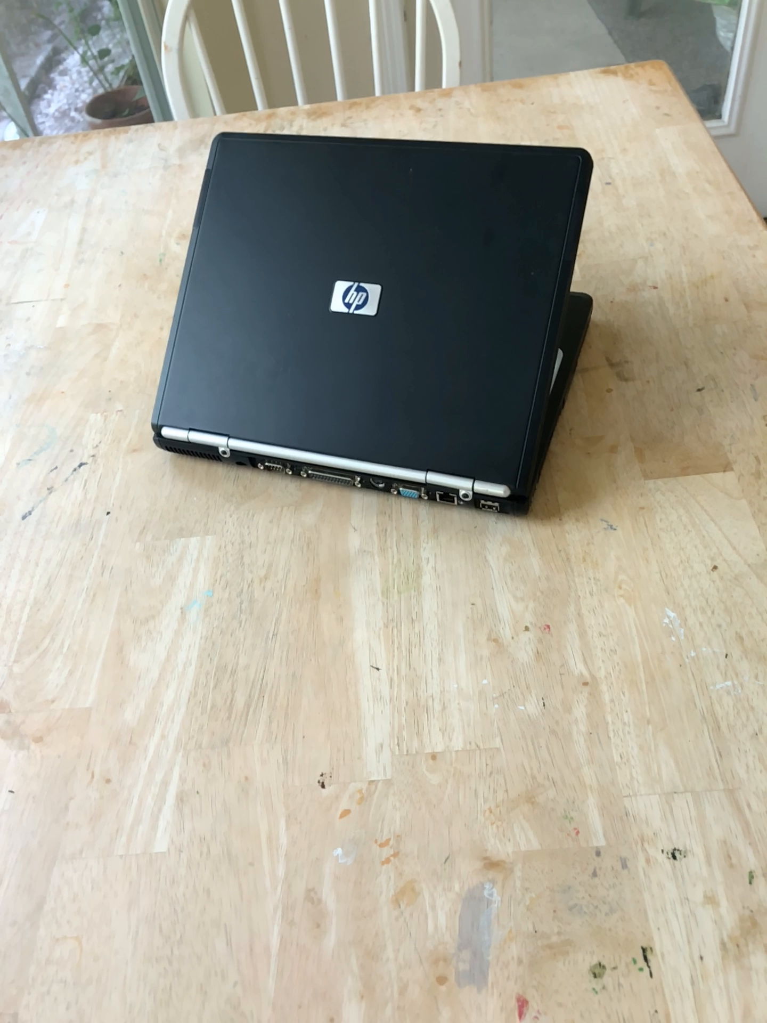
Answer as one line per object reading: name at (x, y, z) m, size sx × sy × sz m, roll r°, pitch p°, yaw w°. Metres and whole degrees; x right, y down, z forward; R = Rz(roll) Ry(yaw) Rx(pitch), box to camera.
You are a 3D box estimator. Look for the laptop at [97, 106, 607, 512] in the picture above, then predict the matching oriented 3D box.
laptop at (-0.005, -0.177, 0.678) m, size 0.306 × 0.162 × 0.256 m, roll 11°, pitch 52°, yaw 17°
